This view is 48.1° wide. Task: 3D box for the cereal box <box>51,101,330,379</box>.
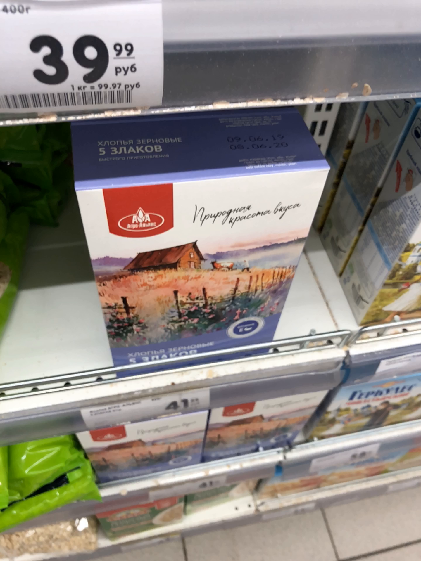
[{"bbox_3d":[-0.018,-0.014,0.329,0.140,0.199,0.060,-7,54,-10],"label":"cereal box"}]
